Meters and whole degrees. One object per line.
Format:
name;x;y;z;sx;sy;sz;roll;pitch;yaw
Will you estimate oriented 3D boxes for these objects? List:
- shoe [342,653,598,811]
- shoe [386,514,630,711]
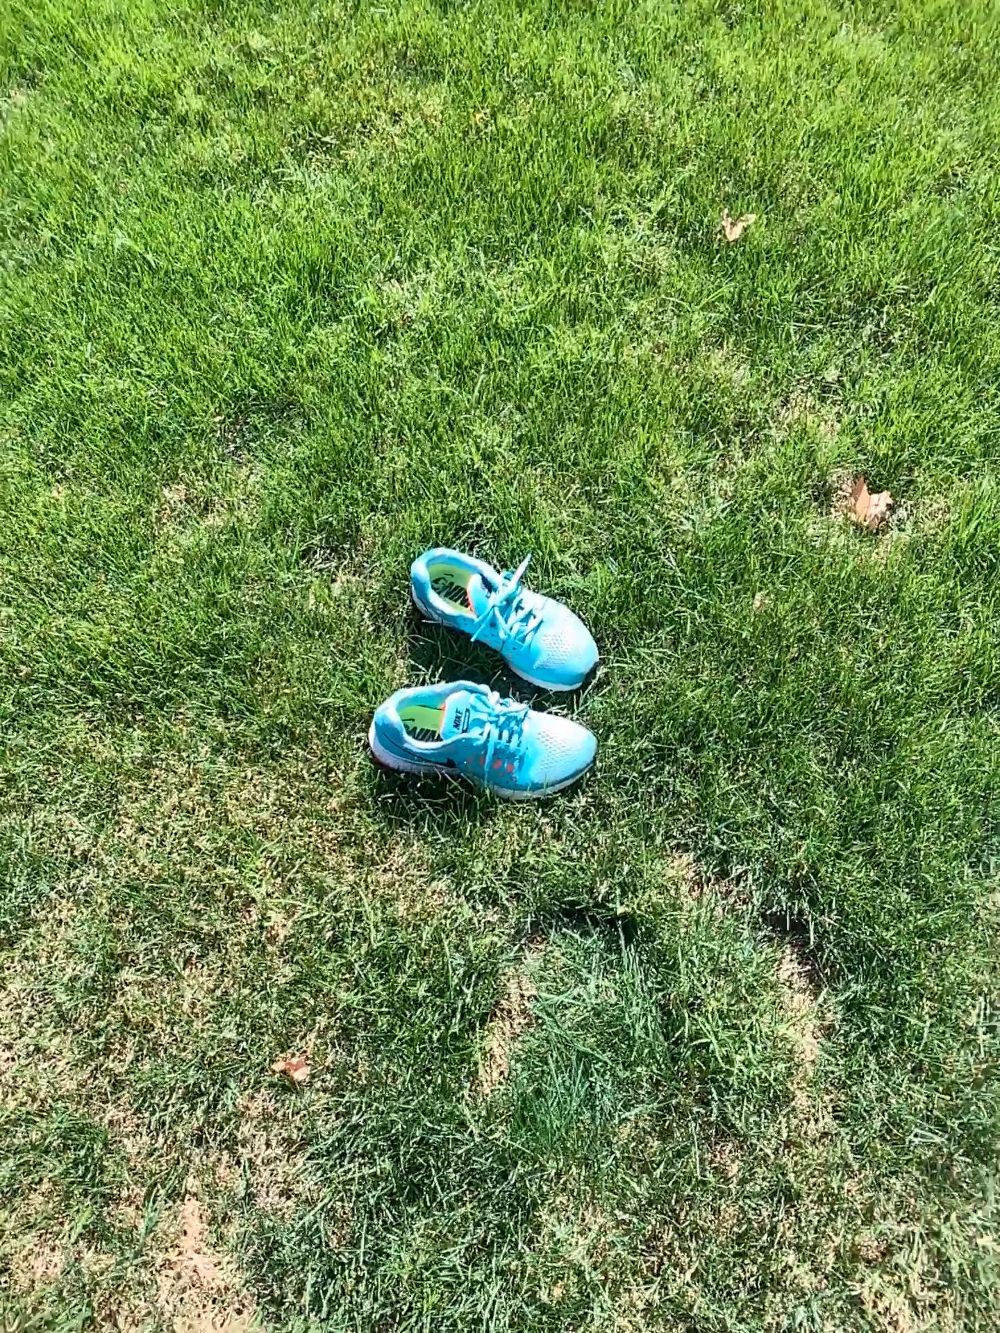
shoe;-0.029;0.073;1.136;0.260;0.090;0.120;6;63;7
shoe;0.010;-0.065;1.185;0.250;0.070;0.120;26;70;16
